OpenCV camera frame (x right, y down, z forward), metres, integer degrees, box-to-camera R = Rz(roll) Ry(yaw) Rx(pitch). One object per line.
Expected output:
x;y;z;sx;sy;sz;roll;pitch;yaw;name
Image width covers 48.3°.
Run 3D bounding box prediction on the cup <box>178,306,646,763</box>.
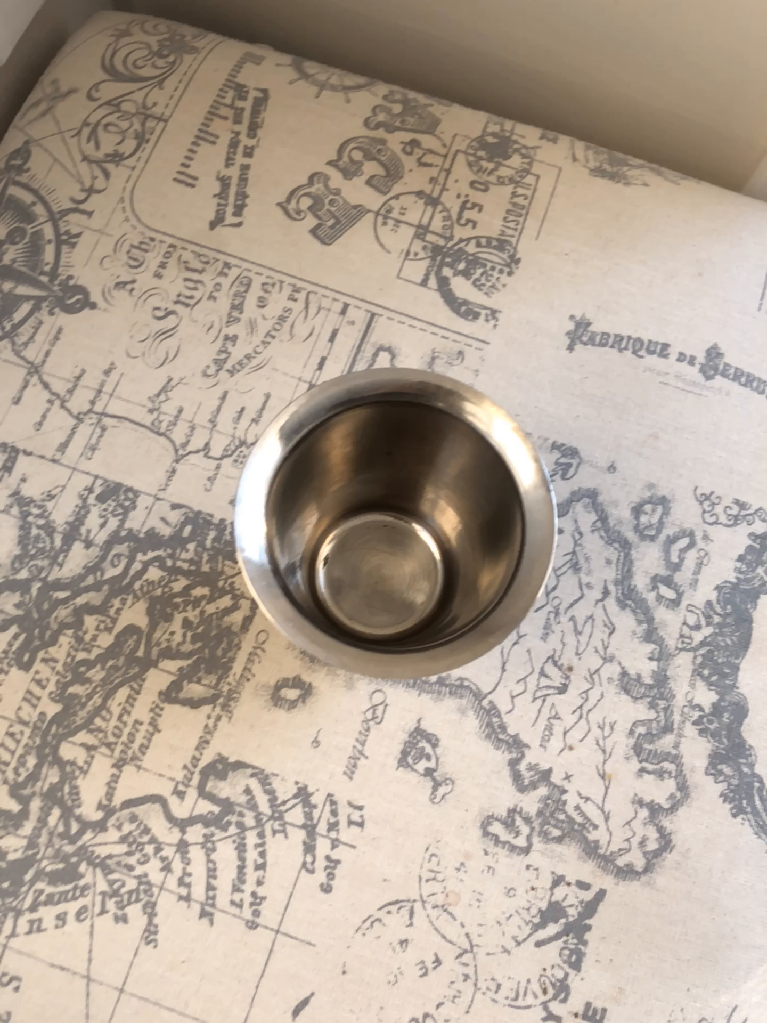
0.005;0.012;0.247;0.081;0.081;0.084;1;73;-3;cup
